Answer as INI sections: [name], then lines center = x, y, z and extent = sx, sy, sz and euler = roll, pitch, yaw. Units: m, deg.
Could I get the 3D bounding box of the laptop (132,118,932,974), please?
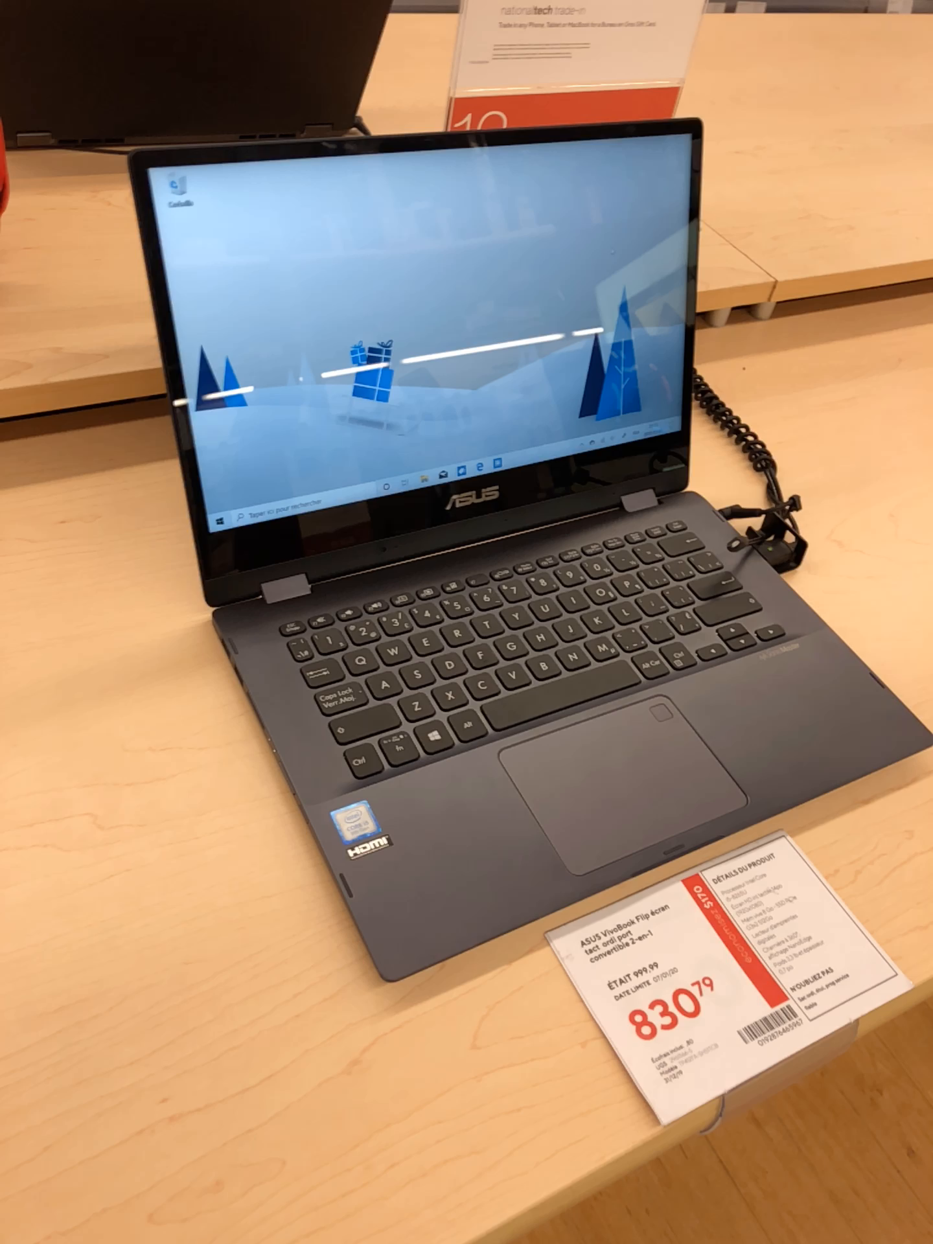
[laptop]
center = 0.049, -0.072, 0.494
extent = 0.313, 0.188, 0.314
euler = -15, 52, -24
